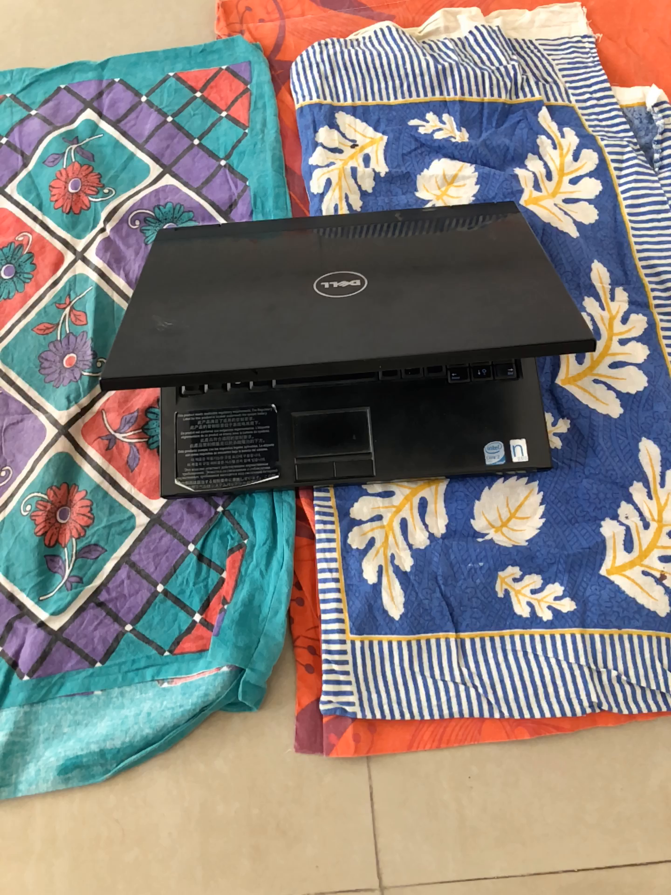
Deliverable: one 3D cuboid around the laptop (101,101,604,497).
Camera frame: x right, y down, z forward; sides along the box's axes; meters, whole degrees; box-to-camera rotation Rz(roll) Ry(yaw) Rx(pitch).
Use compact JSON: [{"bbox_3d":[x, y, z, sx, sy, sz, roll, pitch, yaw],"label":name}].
[{"bbox_3d":[0.004,-0.102,0.546,0.298,0.144,0.235,-4,71,1],"label":"laptop"}]
